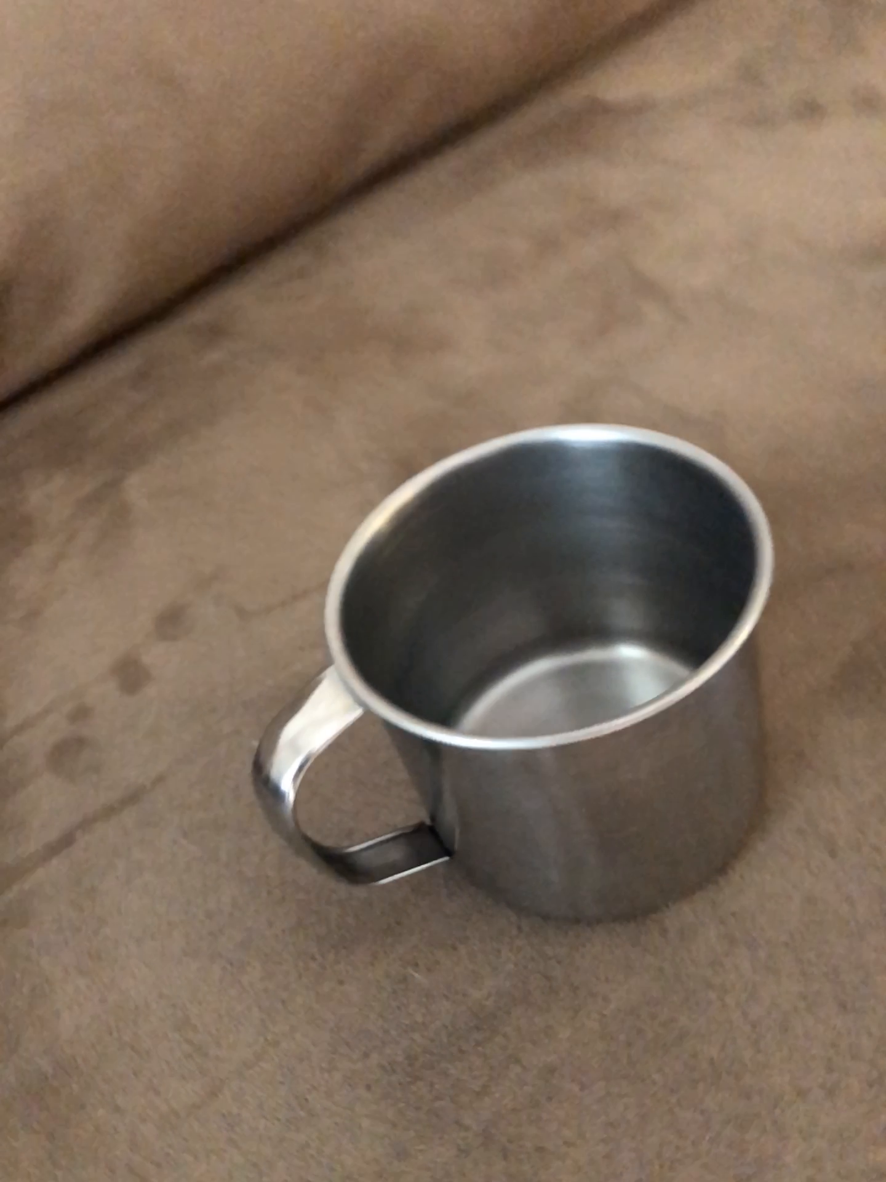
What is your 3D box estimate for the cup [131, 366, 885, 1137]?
[{"bbox_3d":[0.015,0.024,0.205,0.110,0.070,0.090,-35,43,-15],"label":"cup"}]
